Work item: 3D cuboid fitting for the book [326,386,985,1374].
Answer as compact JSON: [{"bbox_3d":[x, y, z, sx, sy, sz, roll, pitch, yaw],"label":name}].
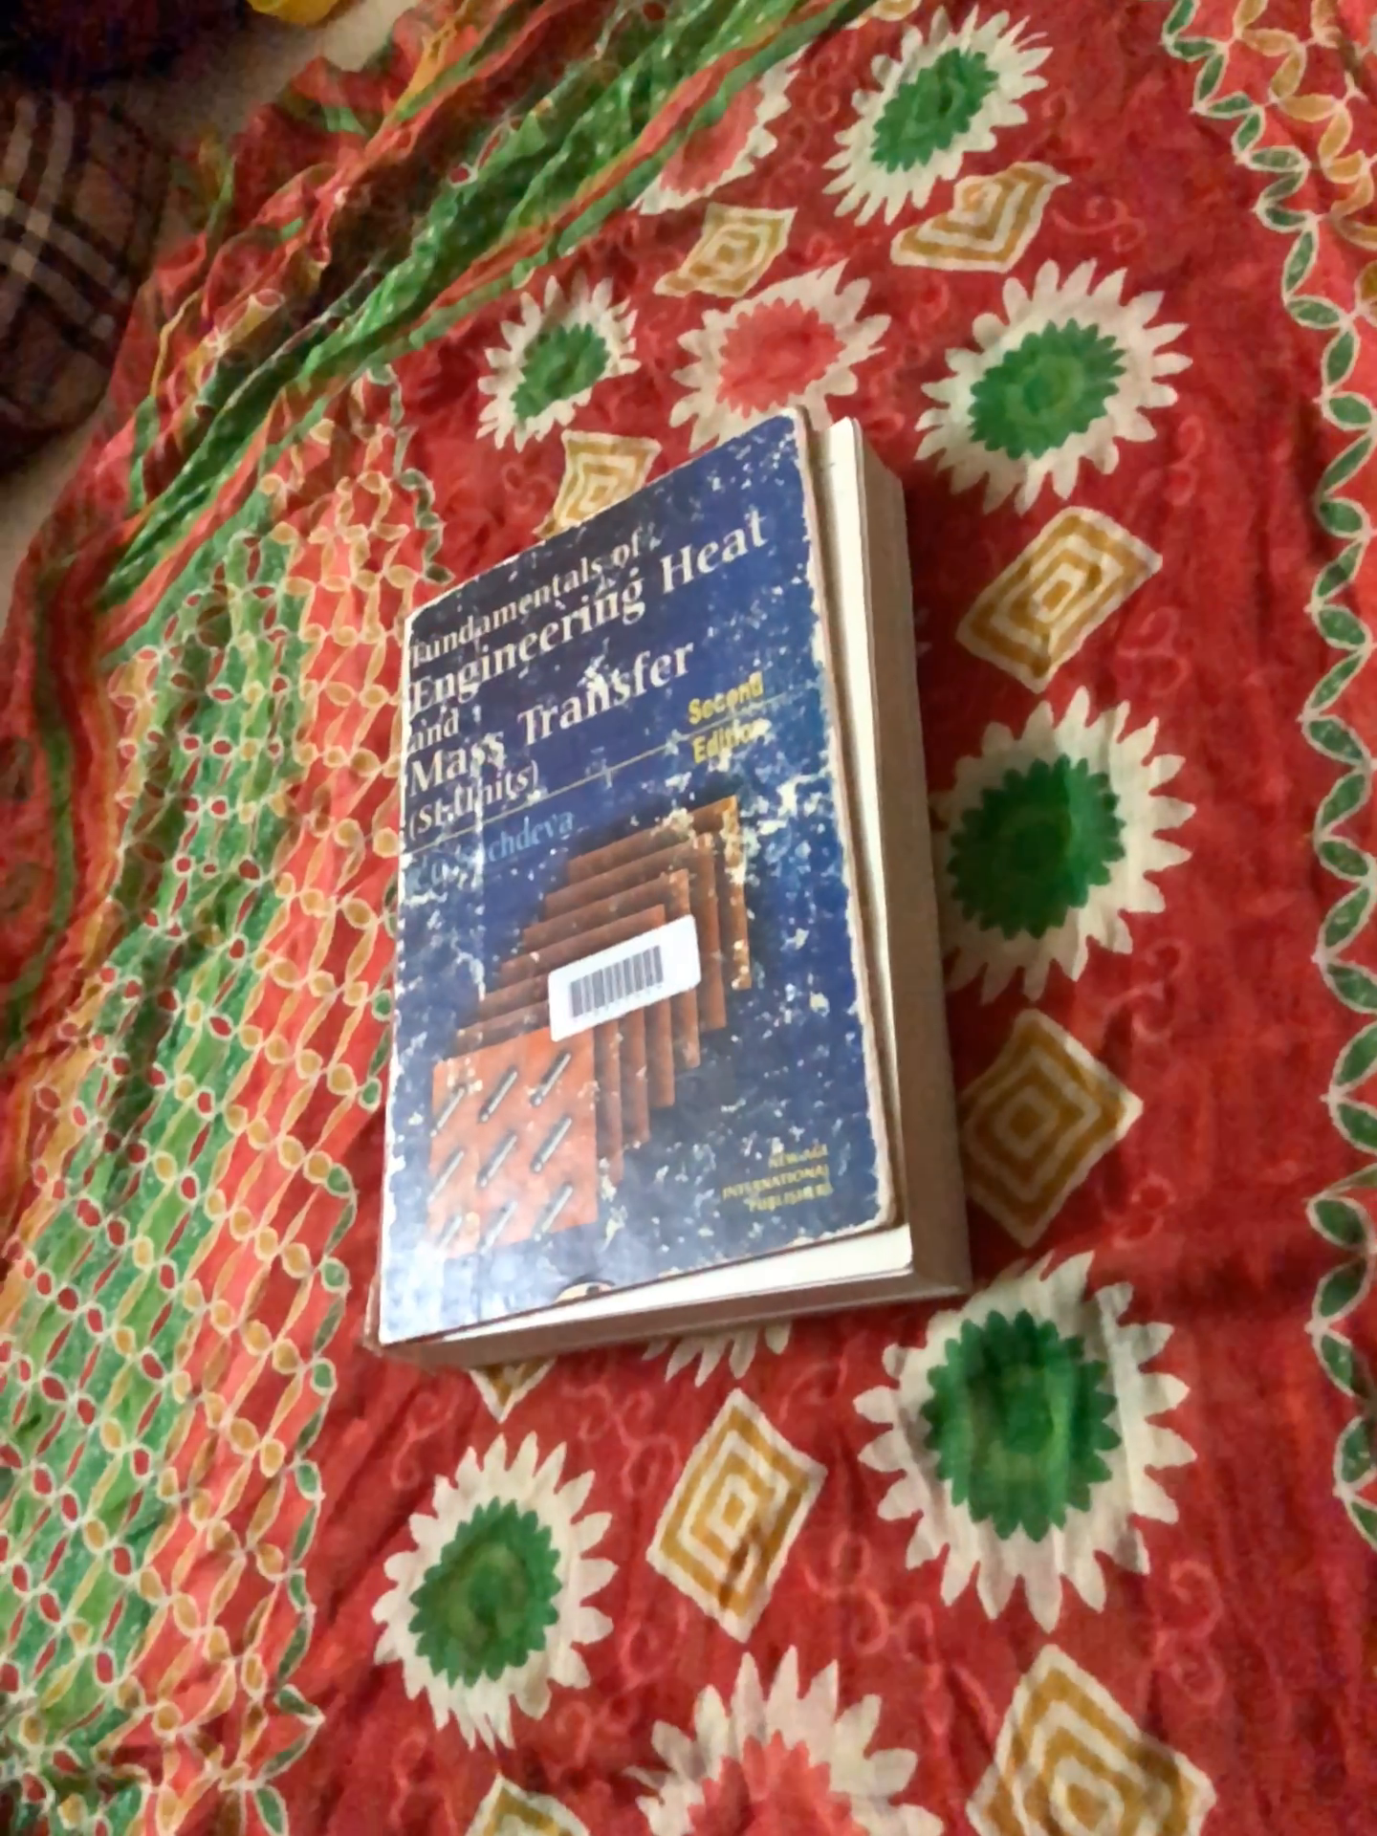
[{"bbox_3d":[-0.016,-0.004,0.376,0.151,0.043,0.209,-18,62,33],"label":"book"}]
